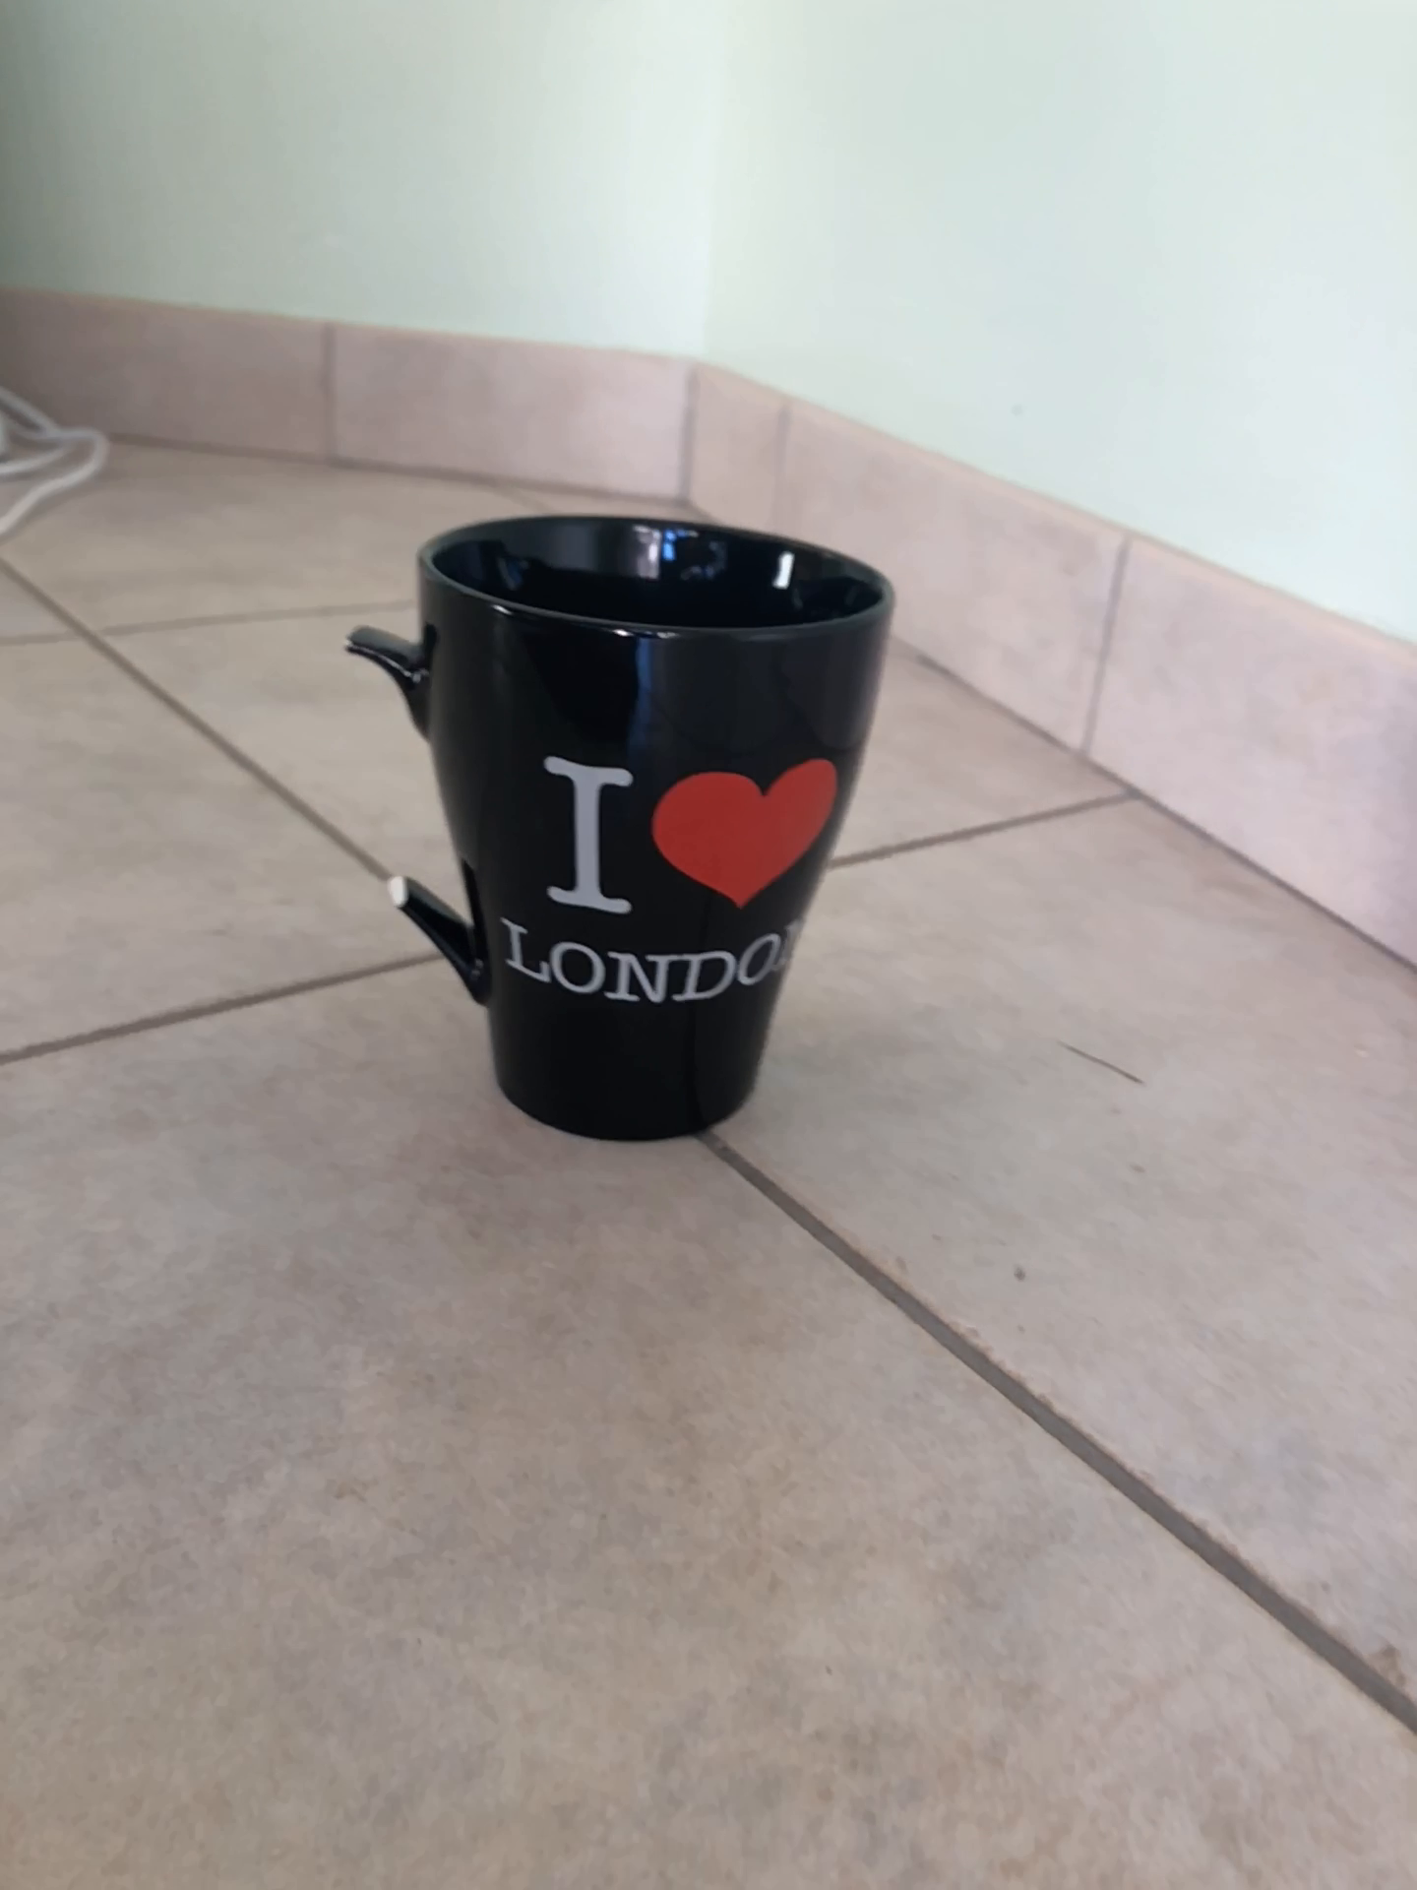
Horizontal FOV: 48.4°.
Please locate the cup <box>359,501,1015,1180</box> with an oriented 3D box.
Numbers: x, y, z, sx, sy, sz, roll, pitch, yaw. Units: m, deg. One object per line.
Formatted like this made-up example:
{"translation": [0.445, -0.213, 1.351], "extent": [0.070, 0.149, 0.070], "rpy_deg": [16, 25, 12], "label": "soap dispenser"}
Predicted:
{"translation": [-0.014, -0.026, 0.322], "extent": [0.108, 0.103, 0.098], "rpy_deg": [-2, 27, -13], "label": "cup"}
